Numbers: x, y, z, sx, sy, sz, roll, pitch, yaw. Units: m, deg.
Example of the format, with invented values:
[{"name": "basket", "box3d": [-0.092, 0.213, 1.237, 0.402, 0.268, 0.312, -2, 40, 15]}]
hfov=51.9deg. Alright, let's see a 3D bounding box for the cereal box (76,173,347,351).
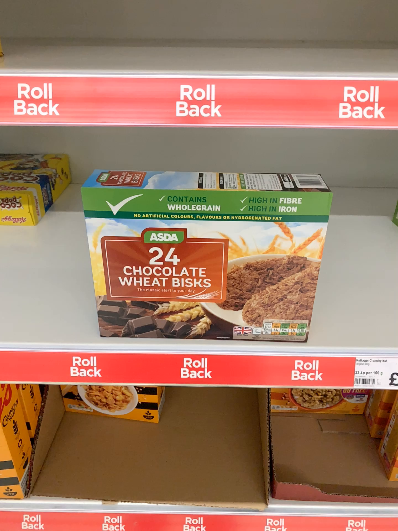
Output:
[{"name": "cereal box", "box3d": [0.011, -0.001, 0.452, 0.250, 0.178, 0.071, 1, 30, 2]}]
